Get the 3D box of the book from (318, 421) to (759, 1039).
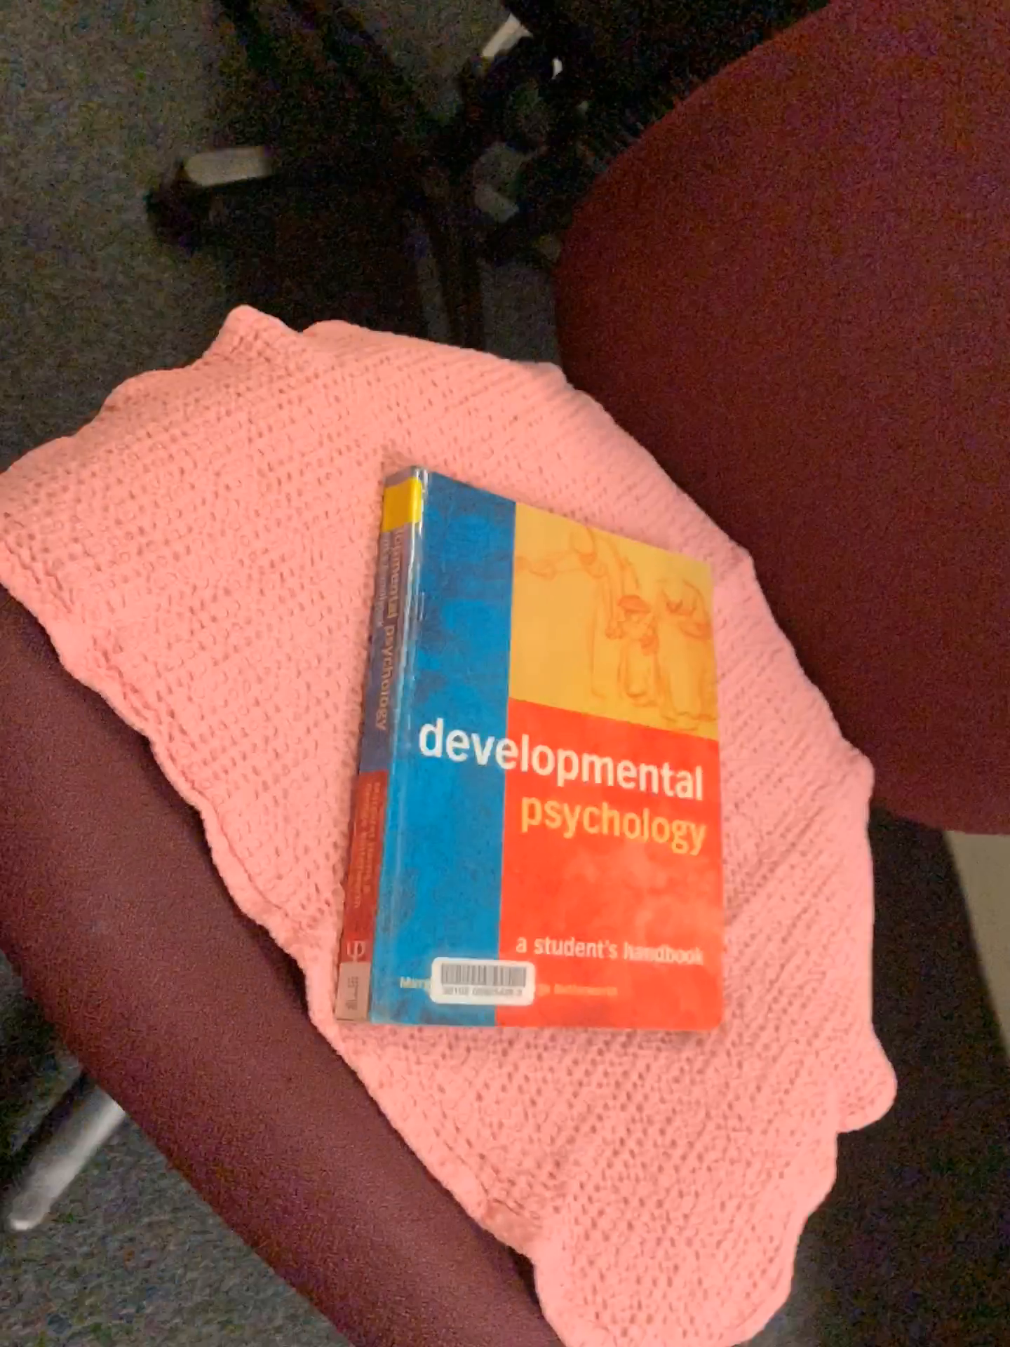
[{"bbox_3d":[0.025,0.035,0.496,0.211,0.040,0.261,13,68,-33],"label":"book"}]
